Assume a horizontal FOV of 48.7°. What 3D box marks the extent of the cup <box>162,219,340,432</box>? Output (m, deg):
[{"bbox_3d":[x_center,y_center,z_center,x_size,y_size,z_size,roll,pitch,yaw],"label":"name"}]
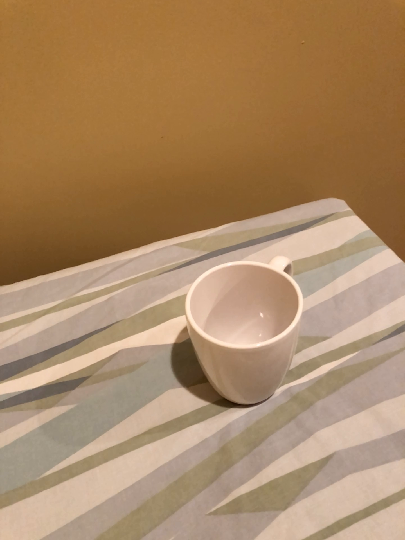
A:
[{"bbox_3d":[0.043,0.040,0.364,0.090,0.090,0.120,18,49,23],"label":"cup"}]
